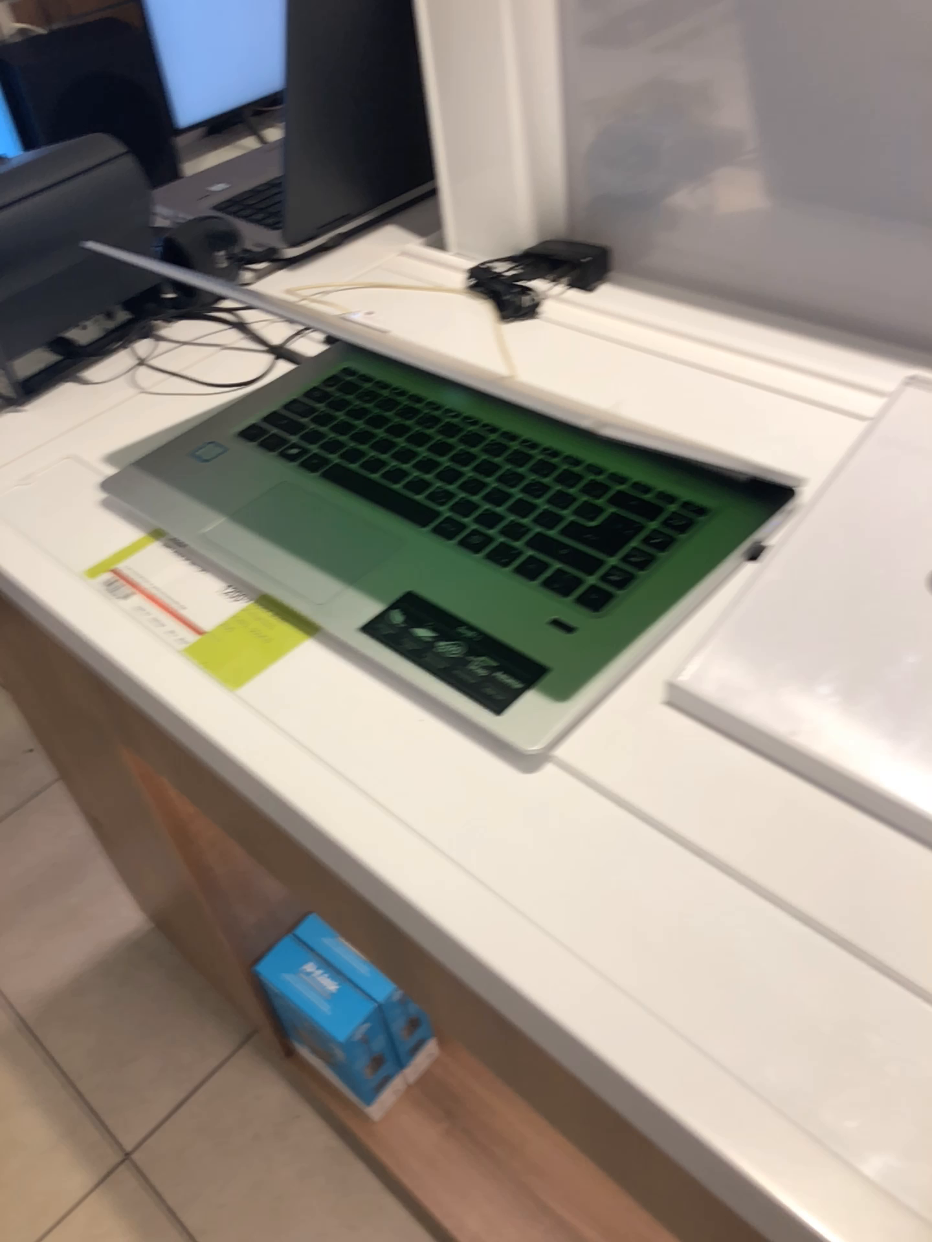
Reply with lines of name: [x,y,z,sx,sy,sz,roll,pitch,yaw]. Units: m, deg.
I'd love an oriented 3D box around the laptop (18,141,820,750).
laptop: [-0.033,-0.125,0.549,0.348,0.132,0.217,29,55,34]
